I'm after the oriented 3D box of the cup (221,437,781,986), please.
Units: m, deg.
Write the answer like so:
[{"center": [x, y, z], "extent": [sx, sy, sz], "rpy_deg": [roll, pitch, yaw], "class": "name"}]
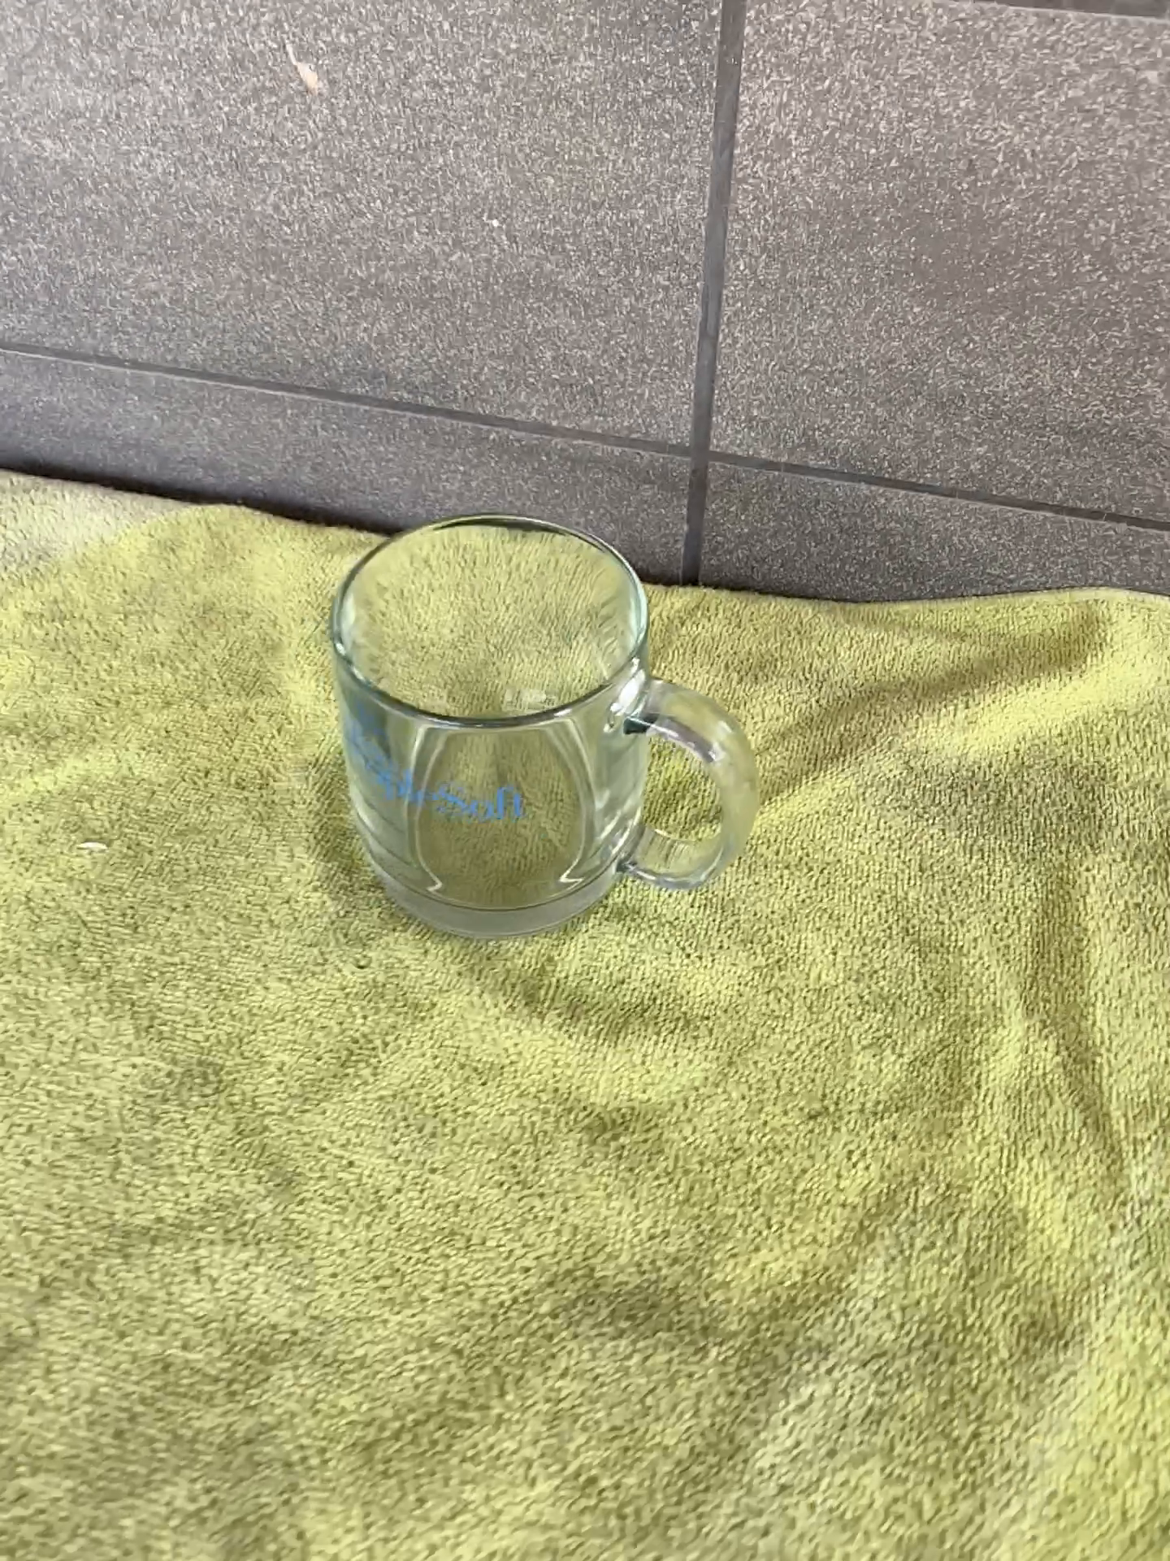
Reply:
[{"center": [-0.020, -0.021, 0.346], "extent": [0.120, 0.100, 0.080], "rpy_deg": [18, 50, 17], "class": "cup"}]
